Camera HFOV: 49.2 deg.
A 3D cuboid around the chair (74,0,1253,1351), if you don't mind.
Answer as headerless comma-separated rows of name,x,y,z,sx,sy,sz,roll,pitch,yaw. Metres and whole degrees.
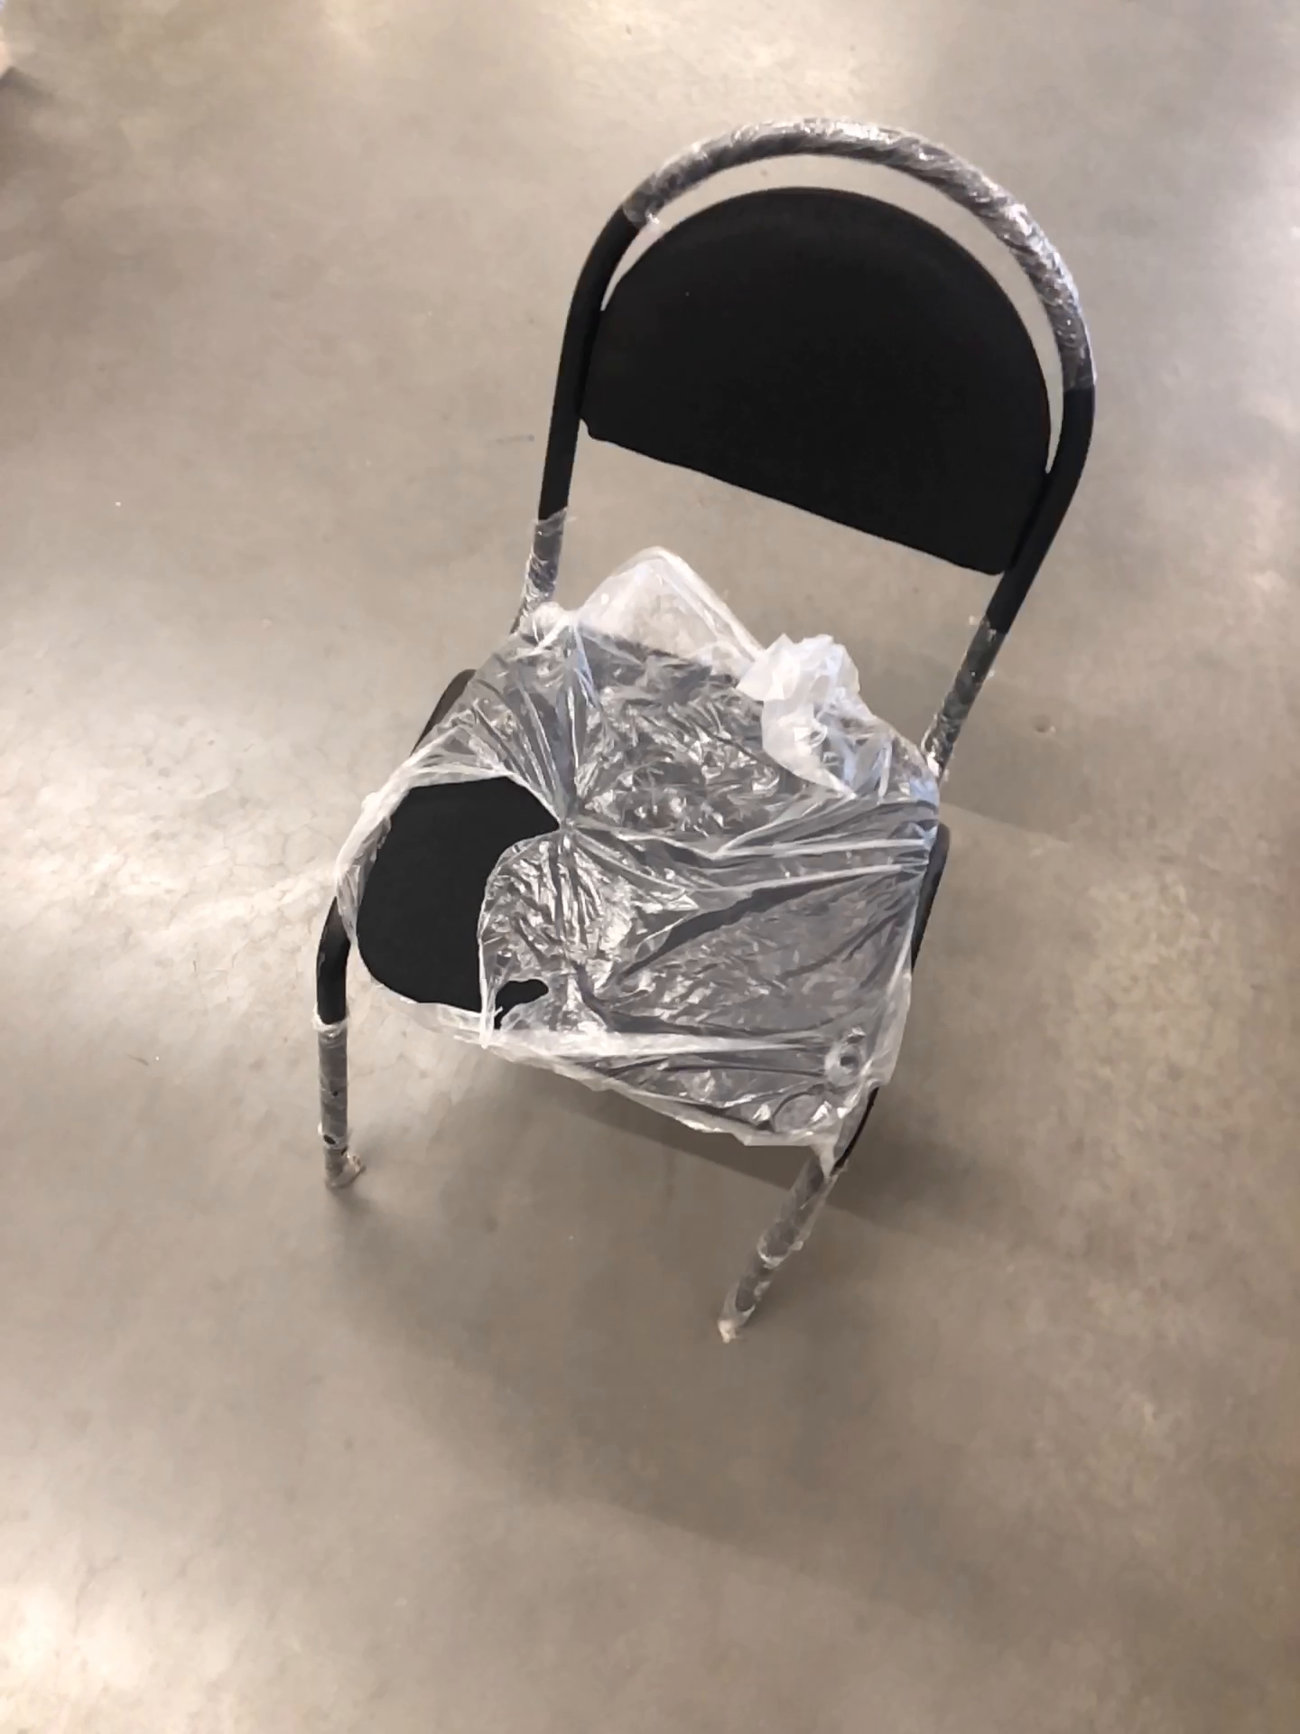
chair,0.014,-0.039,1.117,0.450,0.876,0.552,20,63,5
